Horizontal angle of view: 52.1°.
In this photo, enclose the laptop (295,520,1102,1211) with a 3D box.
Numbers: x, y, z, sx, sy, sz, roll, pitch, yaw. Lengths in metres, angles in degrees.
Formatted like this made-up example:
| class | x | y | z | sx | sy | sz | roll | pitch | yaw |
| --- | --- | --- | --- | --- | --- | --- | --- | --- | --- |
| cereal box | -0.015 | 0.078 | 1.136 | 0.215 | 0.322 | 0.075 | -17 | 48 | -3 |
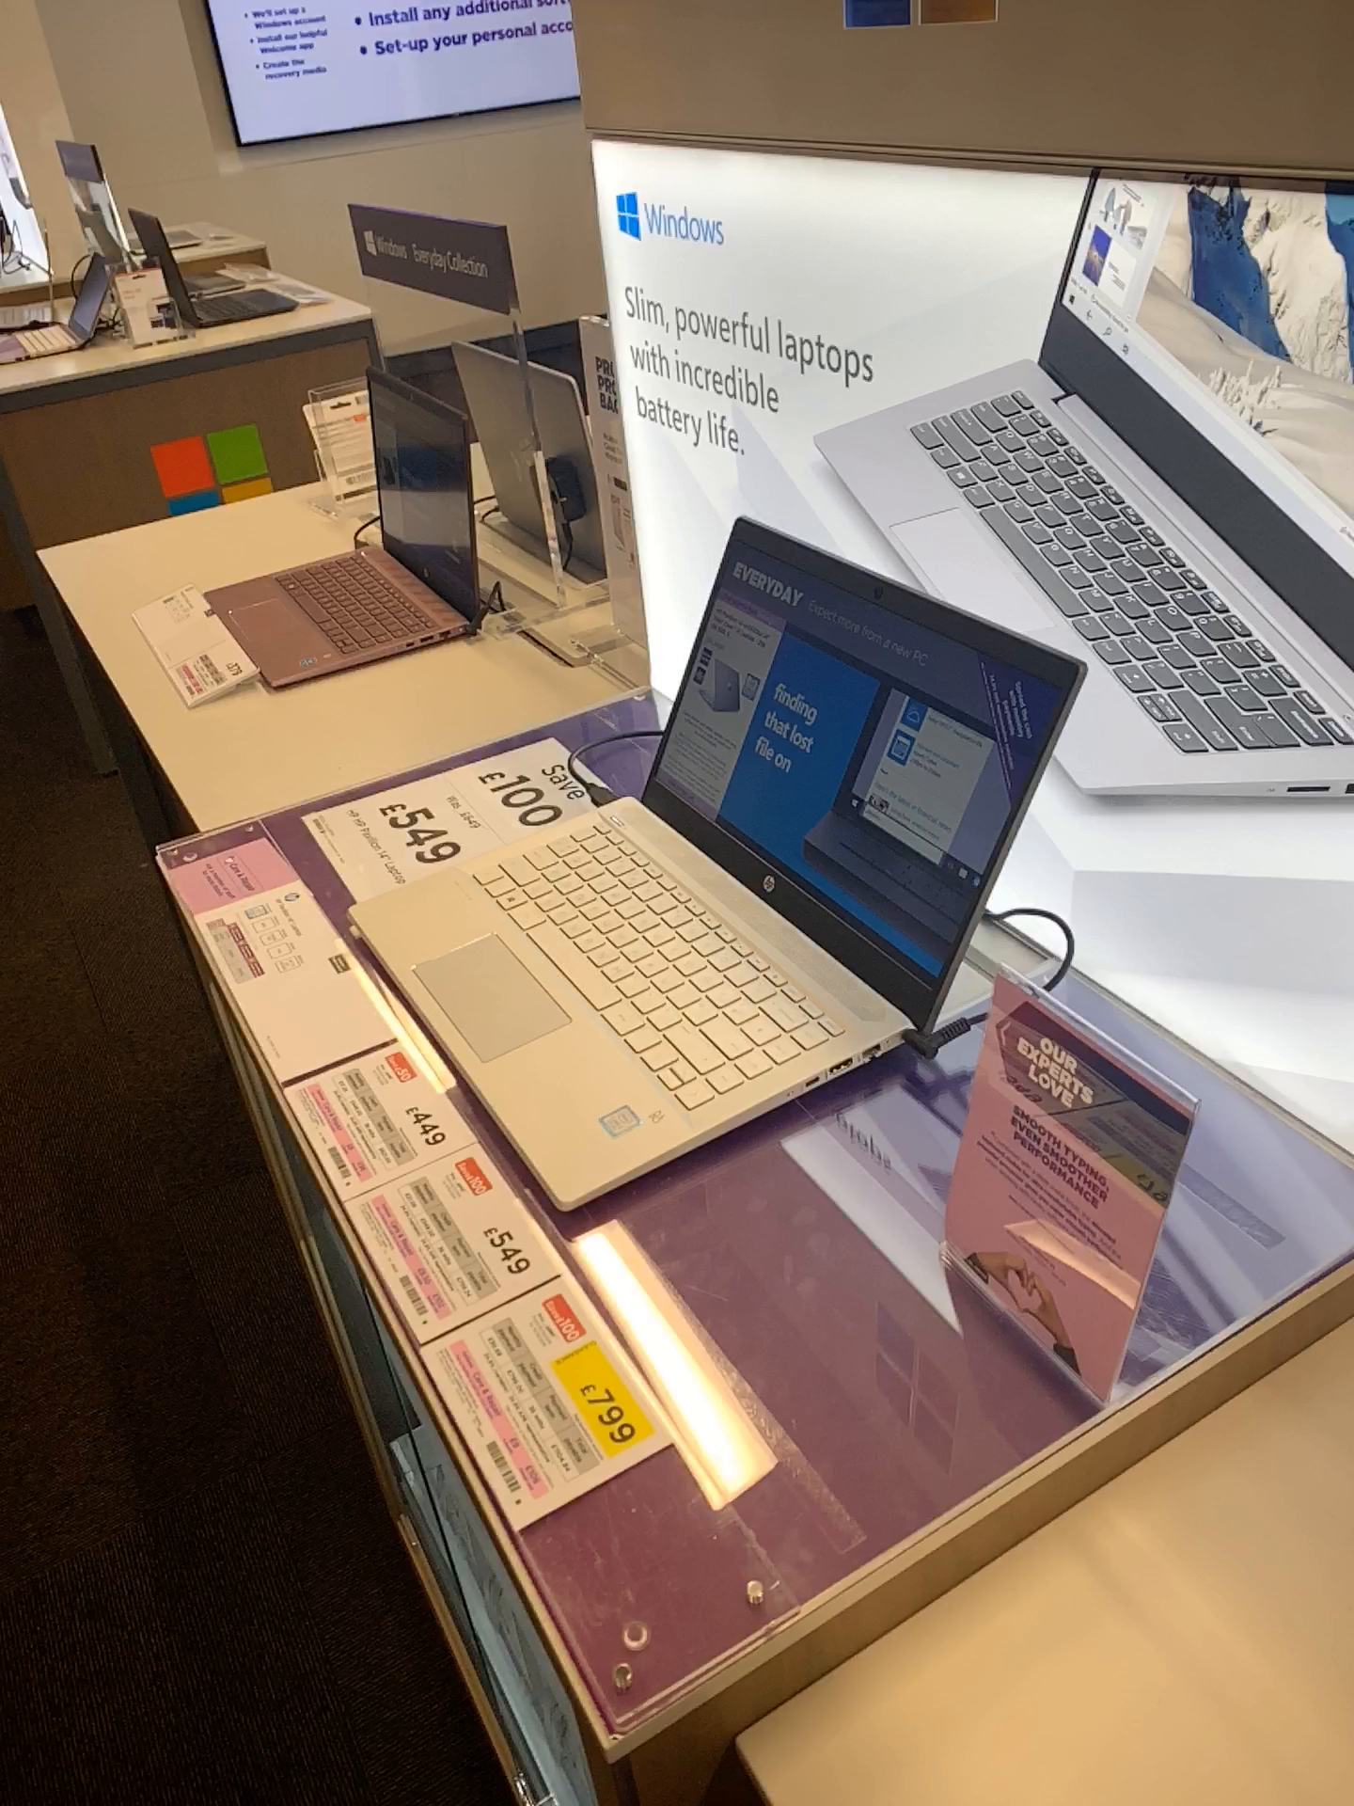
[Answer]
| class | x | y | z | sx | sy | sz | roll | pitch | yaw |
| --- | --- | --- | --- | --- | --- | --- | --- | --- | --- |
| laptop | 0.002 | -0.054 | 0.789 | 0.323 | 0.171 | 0.315 | -23 | 37 | -21 |
